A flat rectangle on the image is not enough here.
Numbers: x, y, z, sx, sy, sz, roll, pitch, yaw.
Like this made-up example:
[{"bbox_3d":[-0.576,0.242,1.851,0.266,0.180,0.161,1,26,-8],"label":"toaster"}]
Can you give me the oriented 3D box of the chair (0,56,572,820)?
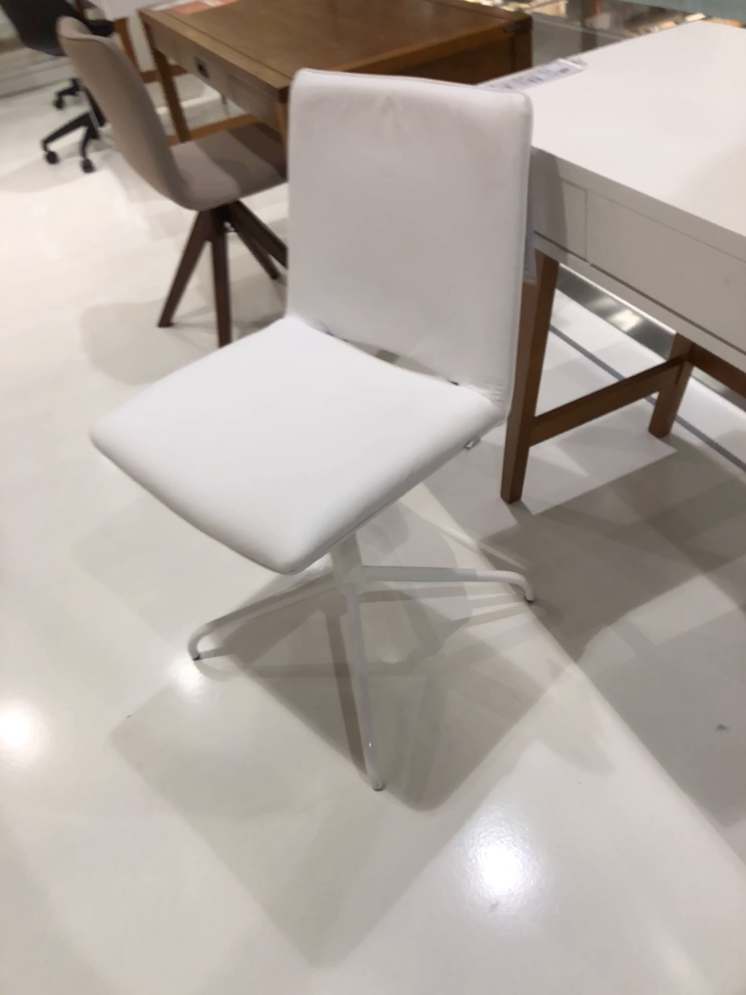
[{"bbox_3d":[-0.077,-0.090,1.190,0.512,0.843,0.502,27,53,38],"label":"chair"}]
